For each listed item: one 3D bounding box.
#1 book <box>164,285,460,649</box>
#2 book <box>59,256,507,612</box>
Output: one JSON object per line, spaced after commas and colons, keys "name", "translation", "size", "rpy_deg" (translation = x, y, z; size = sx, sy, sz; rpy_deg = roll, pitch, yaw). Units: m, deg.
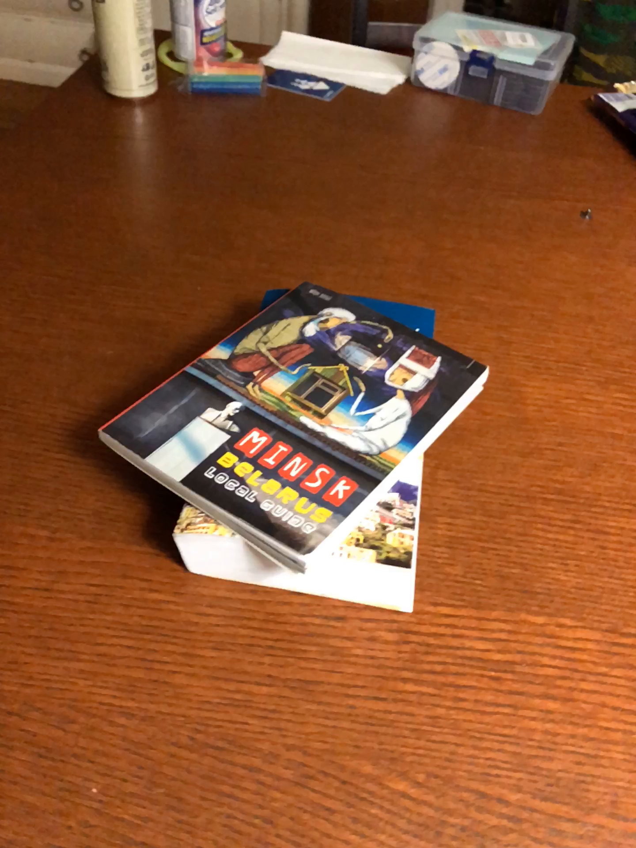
{"name": "book", "translation": [0.011, 0.008, 0.411], "size": [0.130, 0.040, 0.221], "rpy_deg": [10, 46, 4]}
{"name": "book", "translation": [-0.010, -0.014, 0.377], "size": [0.150, 0.020, 0.191], "rpy_deg": [30, 50, 22]}
